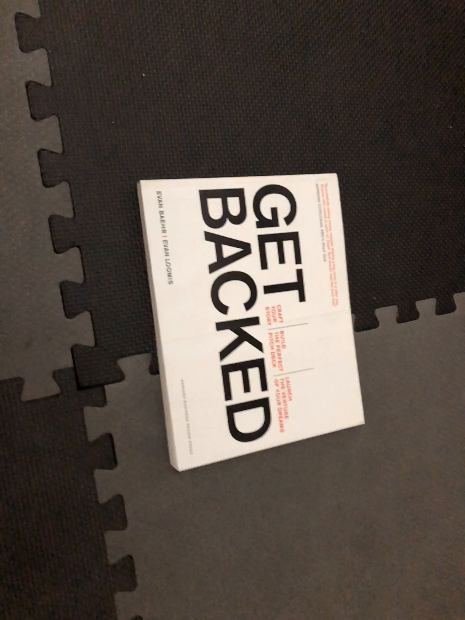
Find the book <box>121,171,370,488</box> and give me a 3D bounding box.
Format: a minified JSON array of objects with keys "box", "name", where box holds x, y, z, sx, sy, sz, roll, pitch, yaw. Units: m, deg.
[{"box":[0.020,0.008,0.473,0.211,0.020,0.260,-8,93,-21],"name":"book"}]
